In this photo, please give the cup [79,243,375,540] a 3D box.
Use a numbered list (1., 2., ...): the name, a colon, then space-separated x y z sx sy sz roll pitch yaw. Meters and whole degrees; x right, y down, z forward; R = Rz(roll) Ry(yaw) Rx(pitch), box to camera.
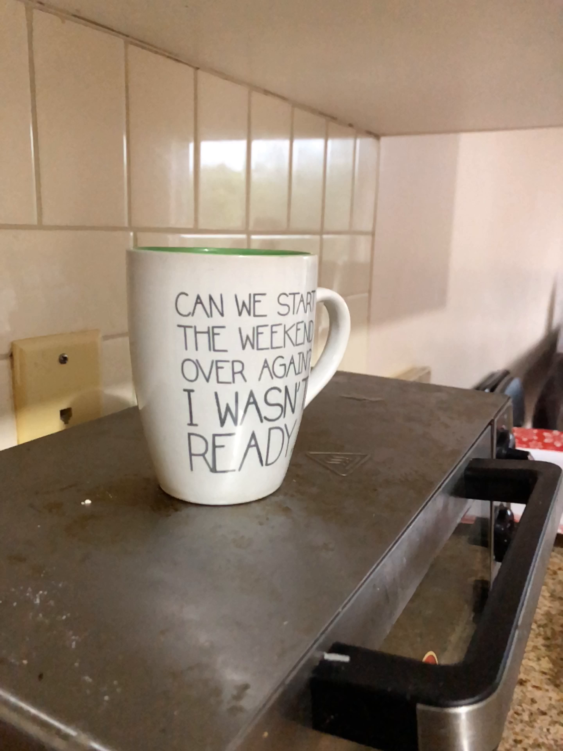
1. cup: -0.023 -0.004 0.289 0.110 0.110 0.070 -8 15 -38
